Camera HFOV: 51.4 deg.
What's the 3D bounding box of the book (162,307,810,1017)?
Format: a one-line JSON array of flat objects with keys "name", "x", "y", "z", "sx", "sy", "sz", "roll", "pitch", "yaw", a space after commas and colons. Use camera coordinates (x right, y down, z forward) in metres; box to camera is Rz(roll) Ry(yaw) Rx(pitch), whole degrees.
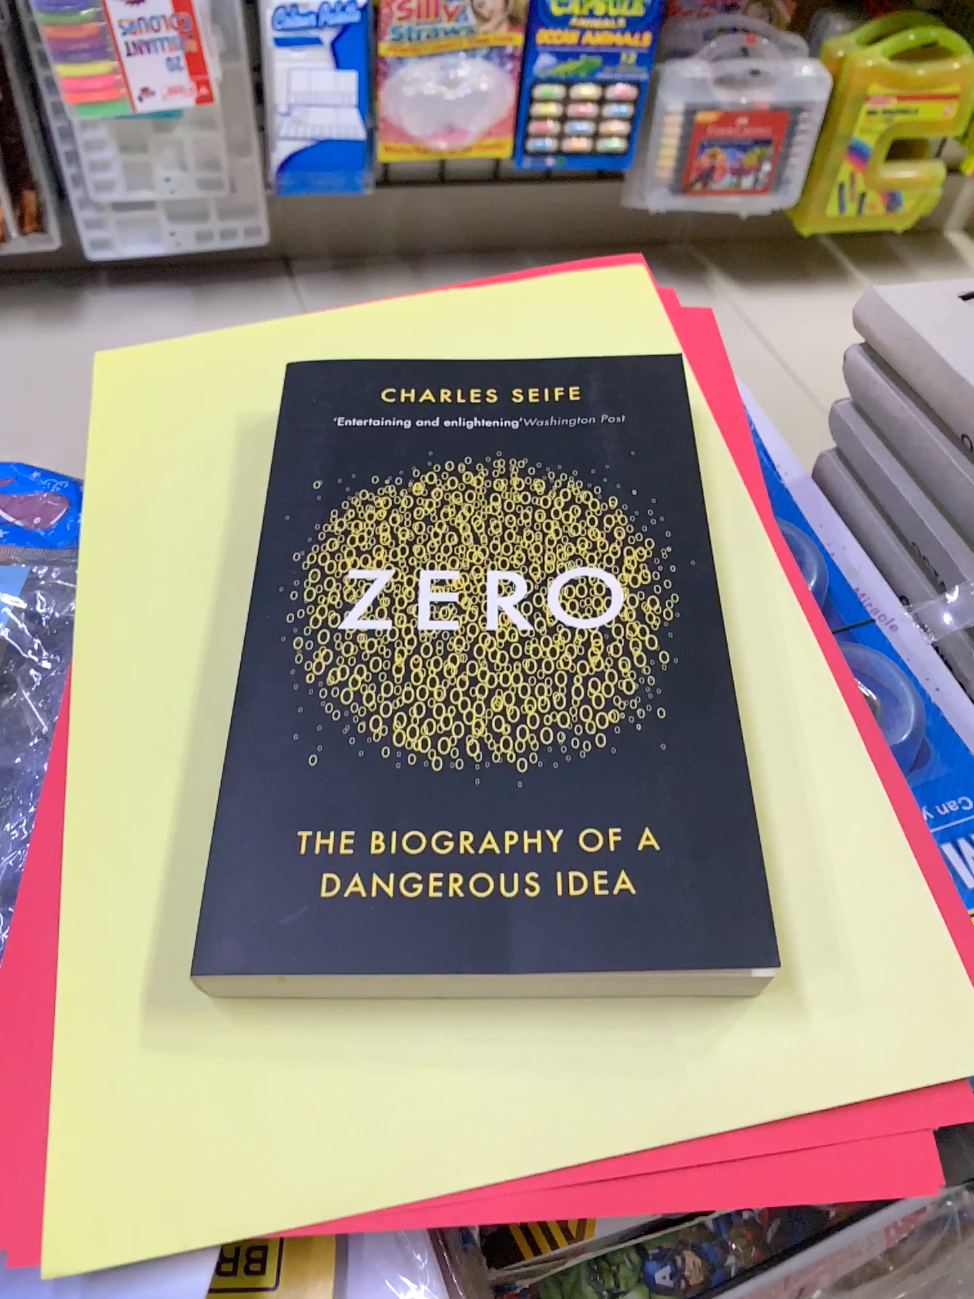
[{"name": "book", "x": 0.000, "y": -0.010, "z": 0.274, "sx": 0.130, "sy": 0.040, "sz": 0.201, "roll": 0, "pitch": 57, "yaw": 0}]
